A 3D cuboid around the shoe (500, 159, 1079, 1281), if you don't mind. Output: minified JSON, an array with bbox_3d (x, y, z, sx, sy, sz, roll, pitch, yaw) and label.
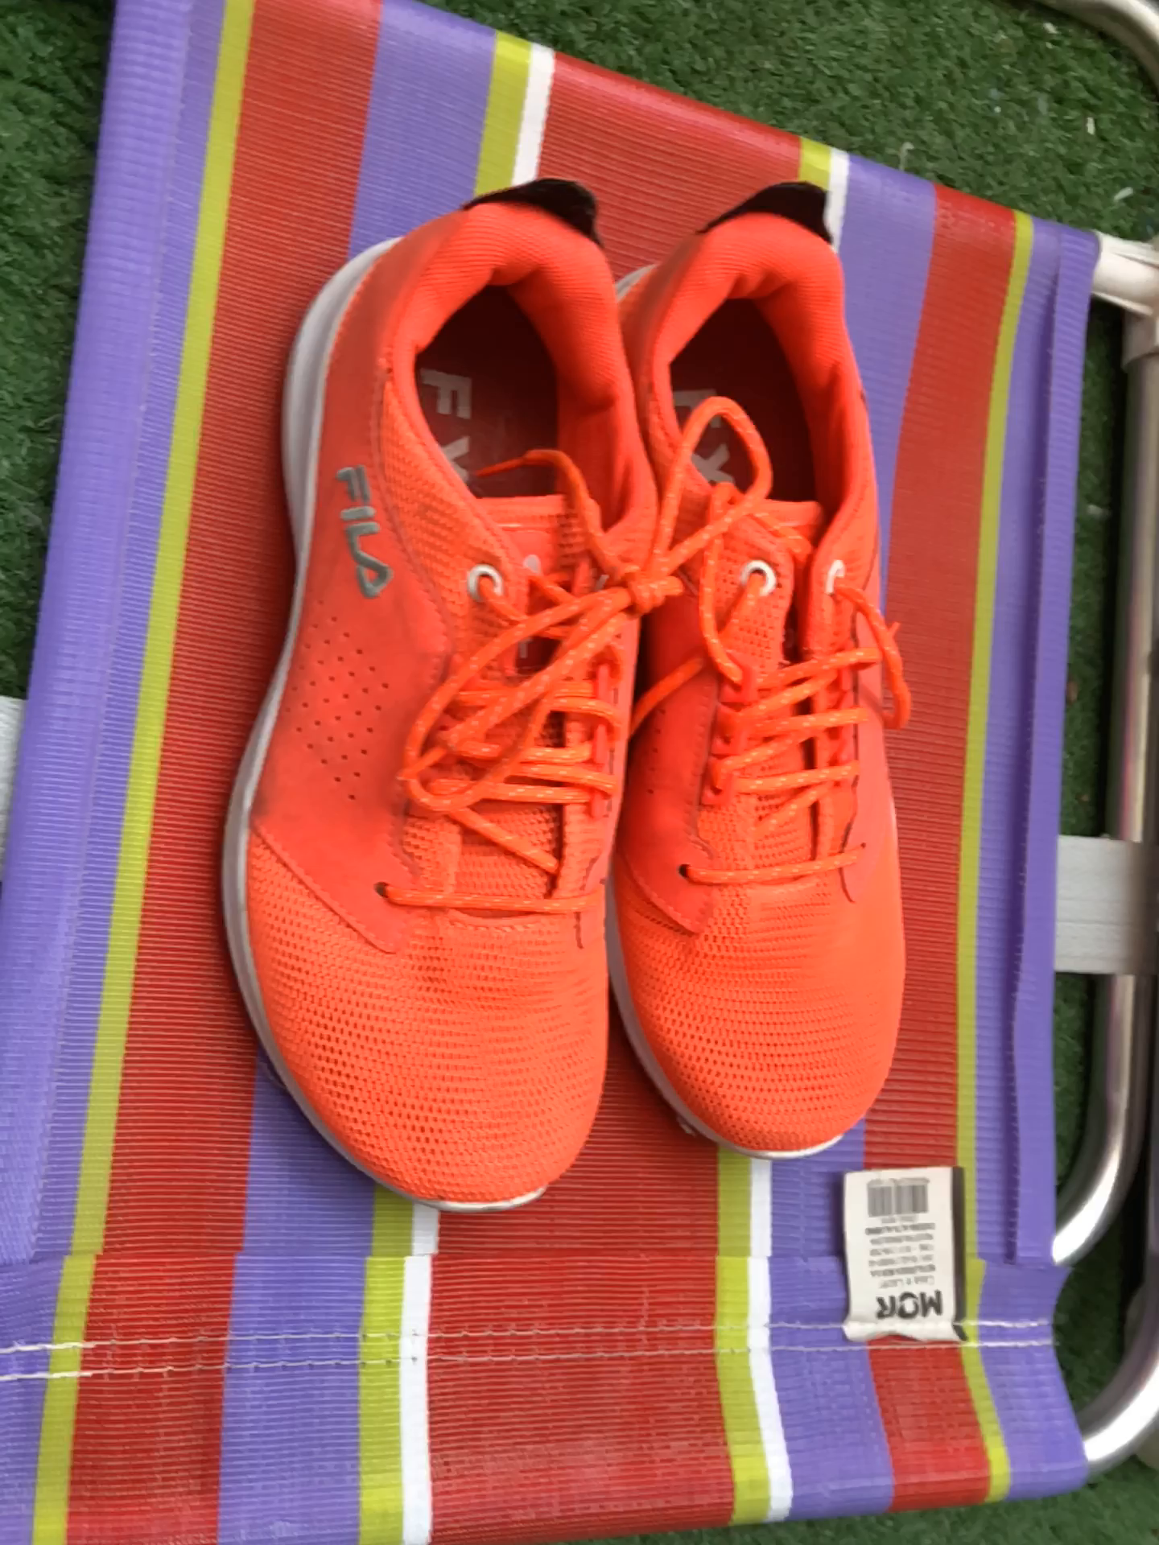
[{"bbox_3d":[0.049,-0.014,0.344,0.100,0.090,0.250,-4,88,-19],"label":"shoe"}]

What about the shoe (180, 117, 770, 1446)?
[{"bbox_3d":[-0.030,0.001,0.289,0.100,0.100,0.230,0,86,-25],"label":"shoe"}]
